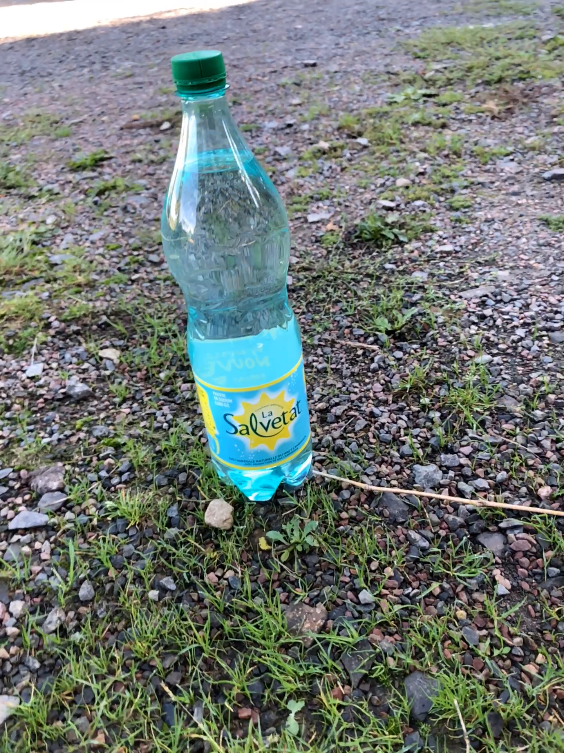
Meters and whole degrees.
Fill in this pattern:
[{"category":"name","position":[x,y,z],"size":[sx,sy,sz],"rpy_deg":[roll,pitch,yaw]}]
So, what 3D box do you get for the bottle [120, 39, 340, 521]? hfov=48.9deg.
[{"category":"bottle","position":[-0.026,-0.053,0.426],"size":[0.090,0.298,0.100],"rpy_deg":[-15,35,-12]}]
